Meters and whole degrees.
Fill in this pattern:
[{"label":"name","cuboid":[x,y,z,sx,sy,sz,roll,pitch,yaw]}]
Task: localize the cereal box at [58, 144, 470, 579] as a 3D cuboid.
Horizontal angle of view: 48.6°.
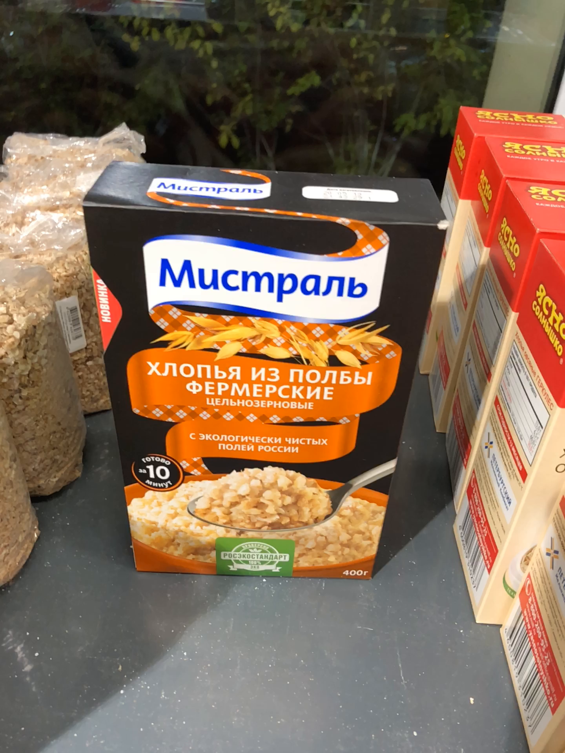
[{"label":"cereal box","cuboid":[-0.010,0.008,0.295,0.140,0.209,0.050,3,37,-1]}]
